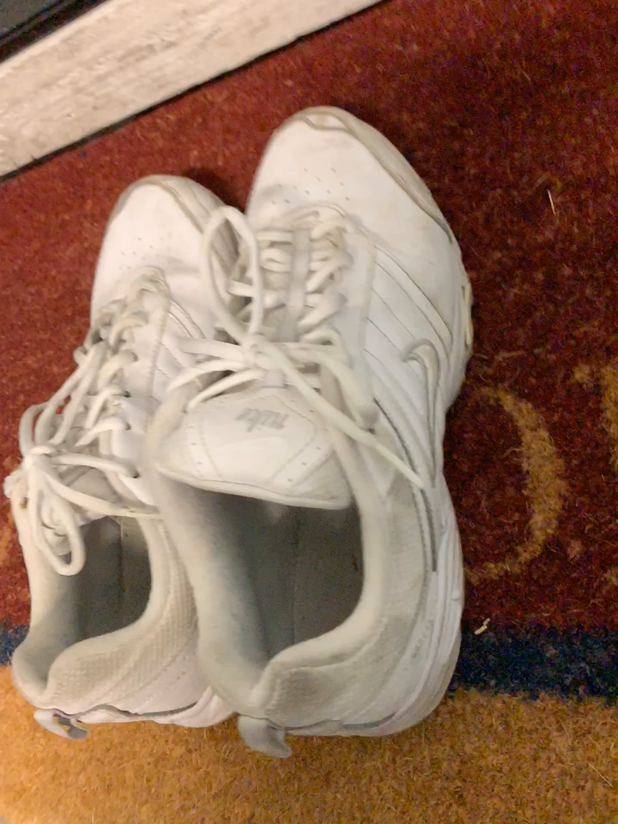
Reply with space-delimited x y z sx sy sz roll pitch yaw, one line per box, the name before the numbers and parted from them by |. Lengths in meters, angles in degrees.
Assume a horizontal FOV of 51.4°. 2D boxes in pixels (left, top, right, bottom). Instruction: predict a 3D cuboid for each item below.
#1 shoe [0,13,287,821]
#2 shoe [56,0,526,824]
shoe | -0.096 -0.001 0.315 0.110 0.129 0.301 -9 76 28
shoe | -0.003 -0.017 0.264 0.120 0.129 0.301 -9 76 28
